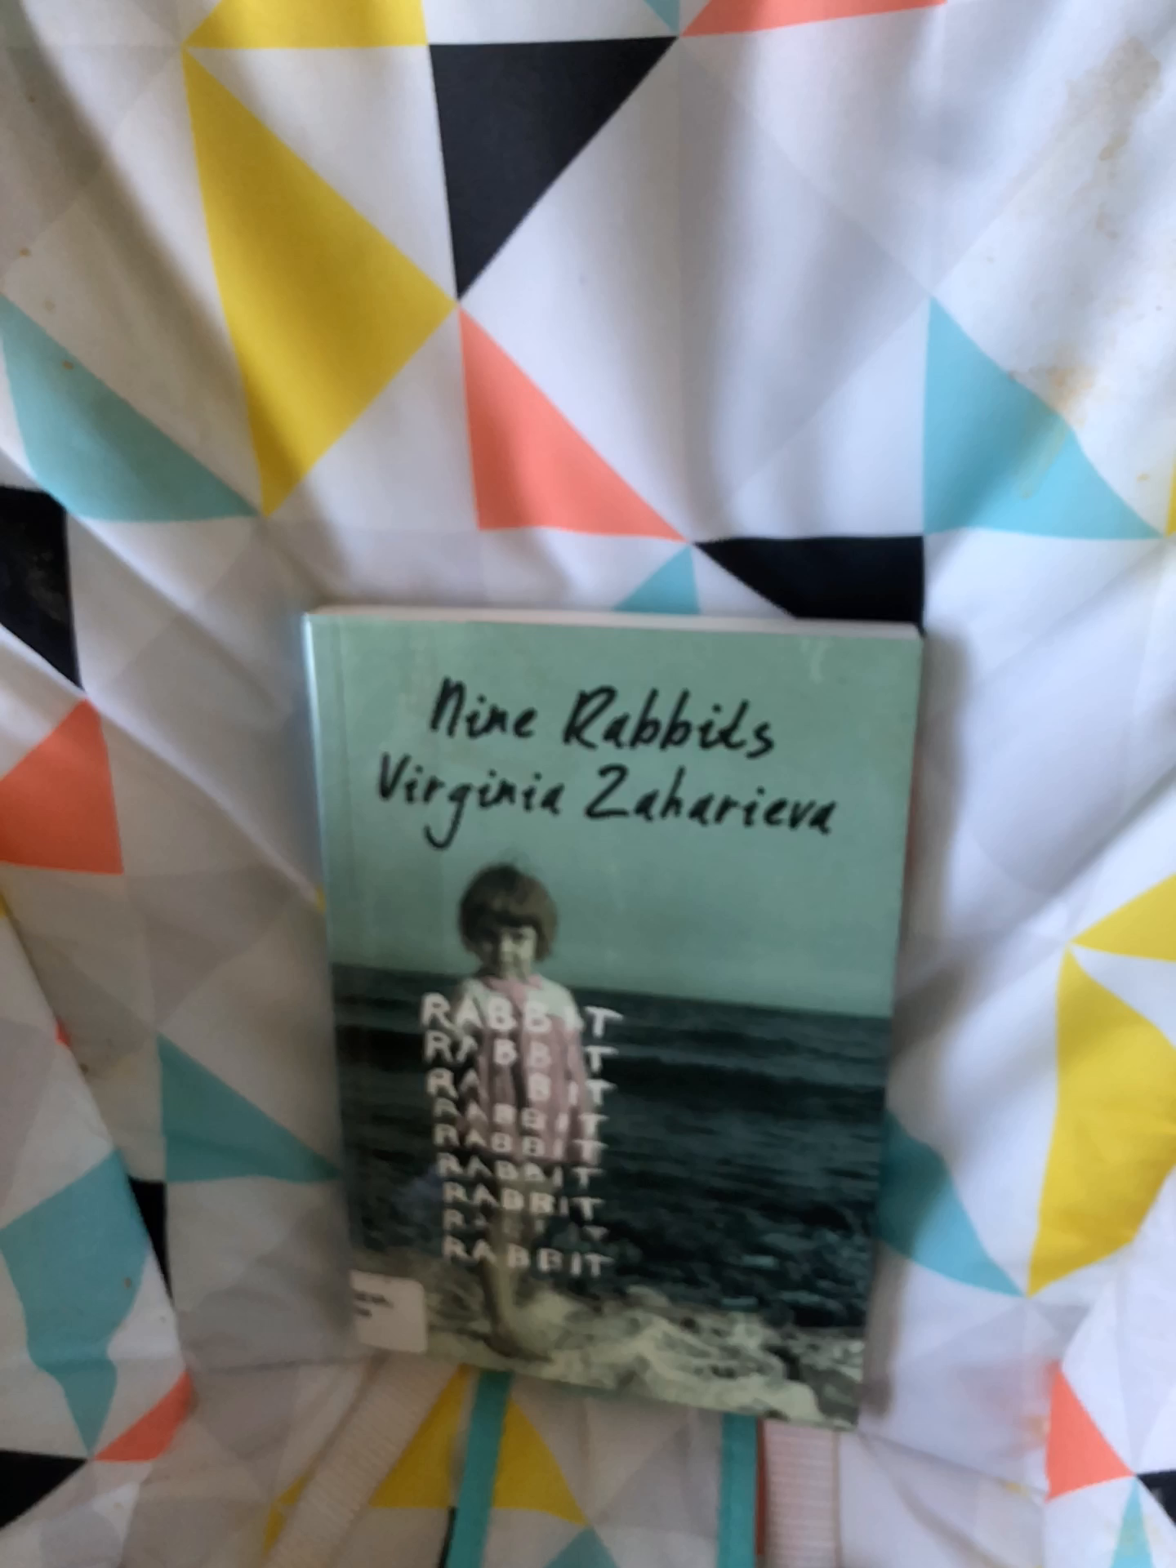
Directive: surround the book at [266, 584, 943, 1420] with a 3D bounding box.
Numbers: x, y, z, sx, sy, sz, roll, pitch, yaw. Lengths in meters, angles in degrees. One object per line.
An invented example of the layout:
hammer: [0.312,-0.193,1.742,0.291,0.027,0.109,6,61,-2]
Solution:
book: [0.002,0.056,0.324,0.145,0.025,0.200,4,109,10]
